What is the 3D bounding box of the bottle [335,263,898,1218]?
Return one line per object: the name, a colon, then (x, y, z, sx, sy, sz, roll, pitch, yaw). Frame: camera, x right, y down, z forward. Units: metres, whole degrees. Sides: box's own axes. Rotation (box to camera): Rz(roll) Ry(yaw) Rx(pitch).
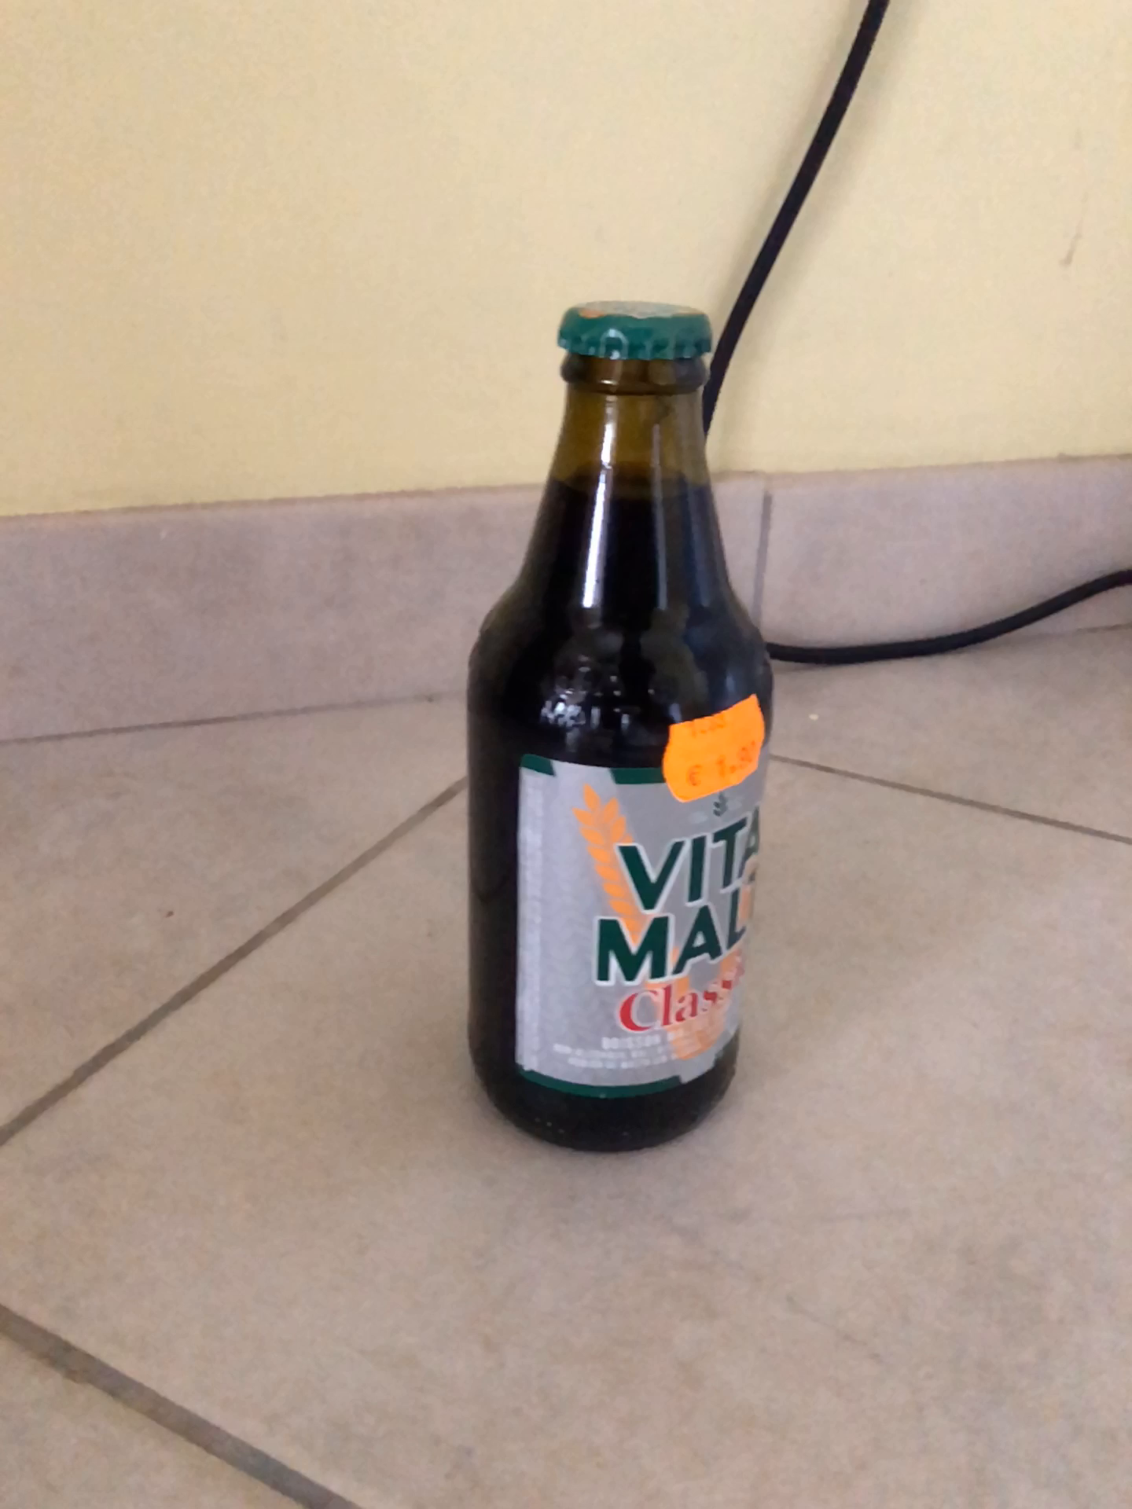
bottle: (0.005, -0.005, 0.256, 0.070, 0.169, 0.070, 2, 27, -1)
